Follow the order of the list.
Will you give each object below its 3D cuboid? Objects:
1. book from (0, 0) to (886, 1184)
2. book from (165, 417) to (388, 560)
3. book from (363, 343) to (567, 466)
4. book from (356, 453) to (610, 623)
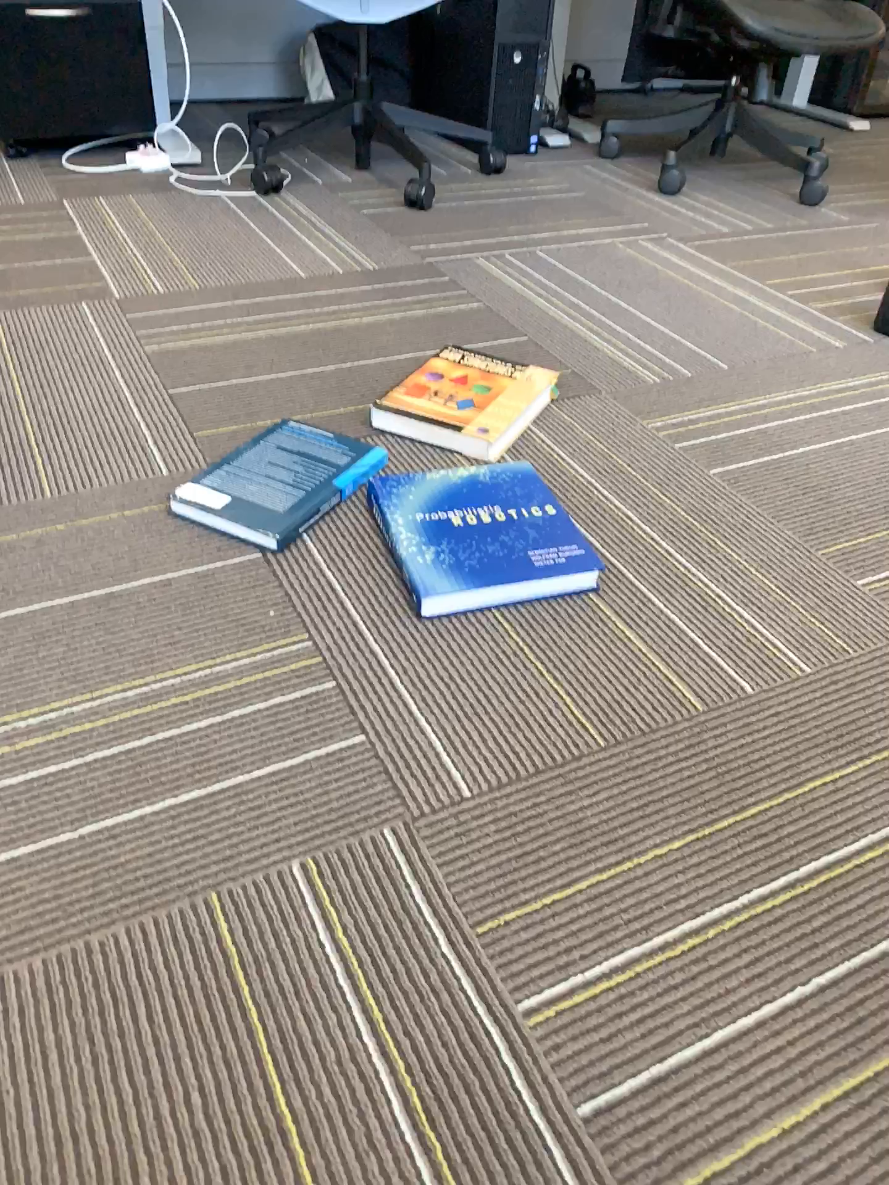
[{"bbox_3d":[0.035,-0.278,1.304,0.031,1.491,6.524,20,40,19],"label":"book"},{"bbox_3d":[-0.196,-0.134,1.101,0.160,0.030,0.231,21,41,20],"label":"book"},{"bbox_3d":[0.035,-0.278,1.304,0.200,0.030,0.261,20,40,19],"label":"book"},{"bbox_3d":[0.033,-0.073,1.026,0.210,0.030,0.252,-9,40,-17],"label":"book"}]
